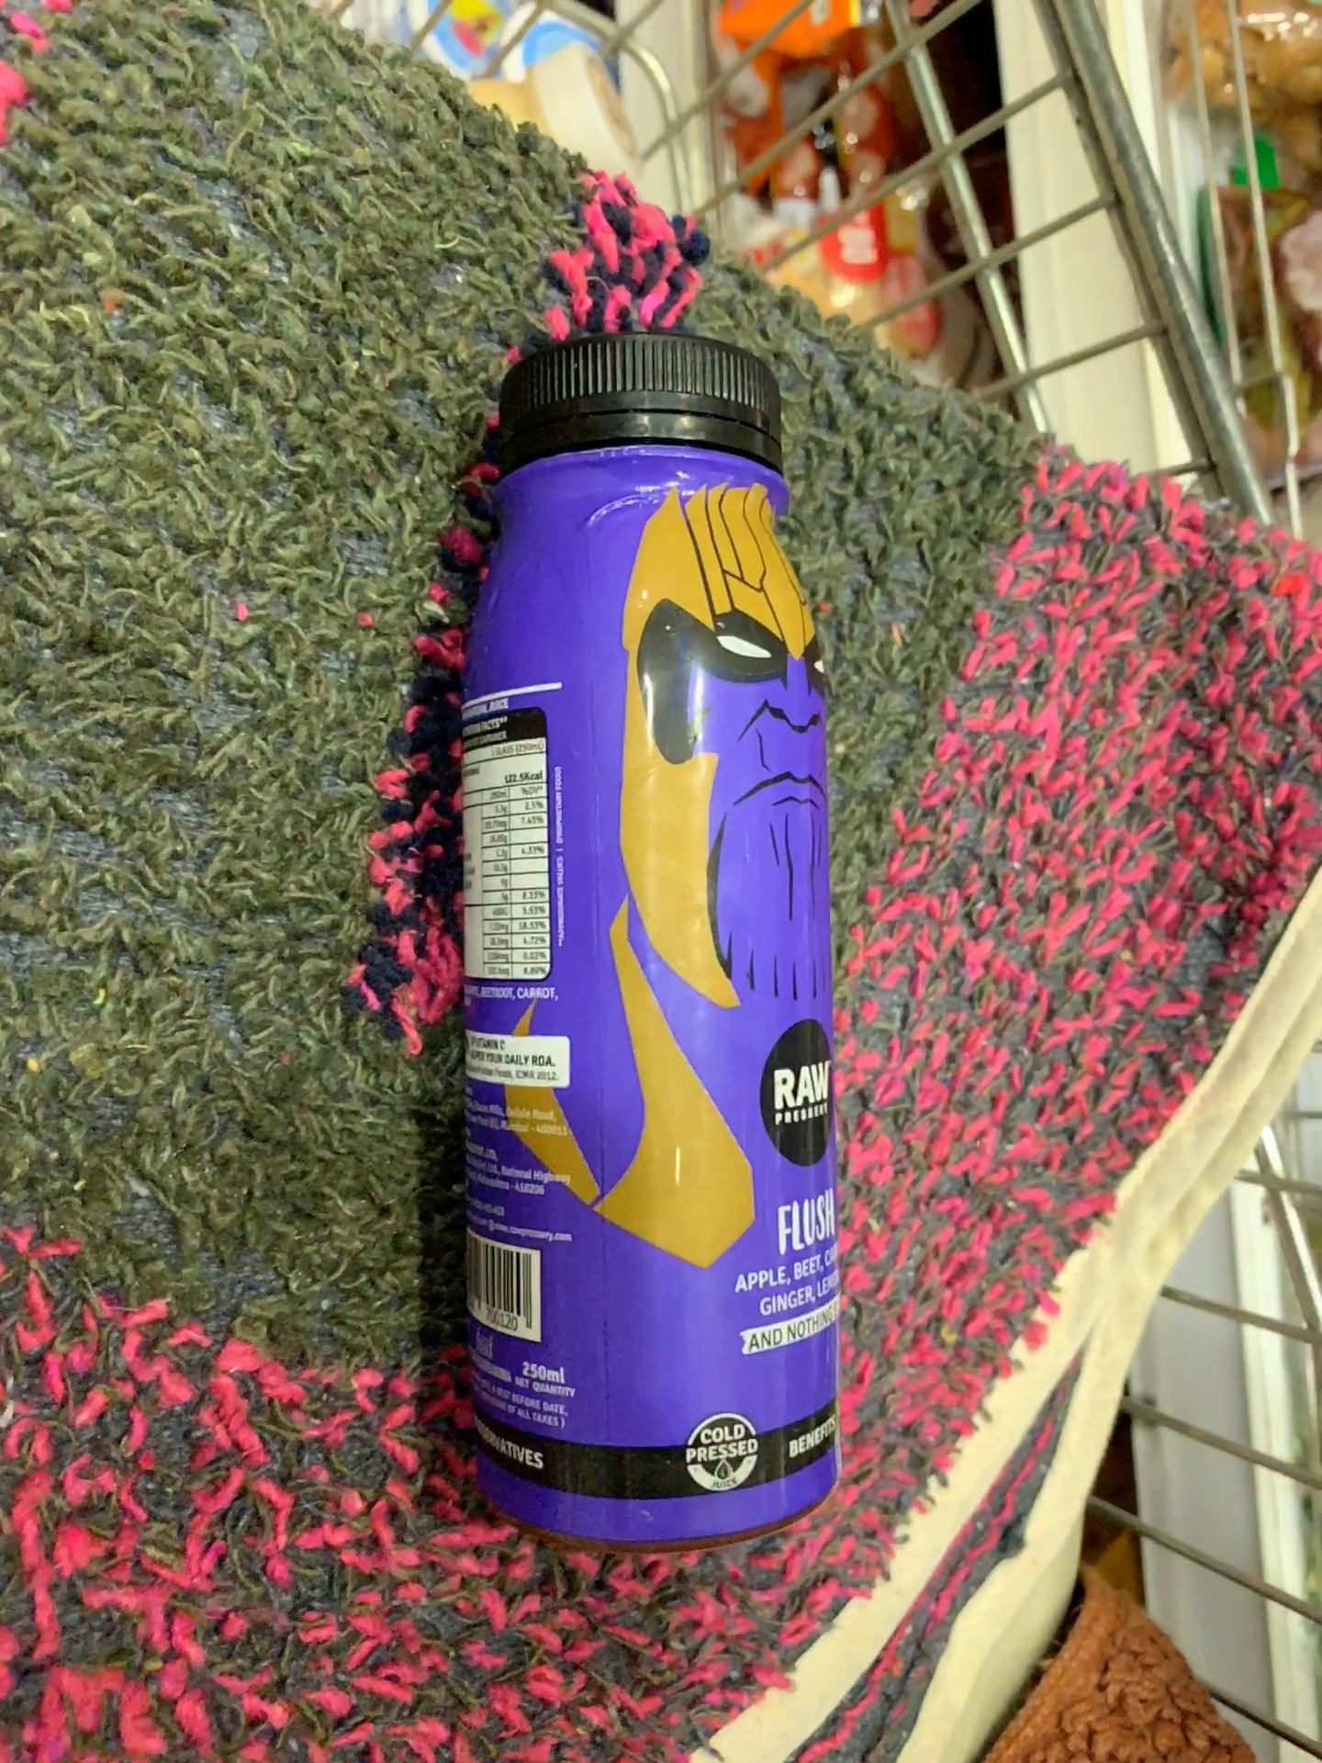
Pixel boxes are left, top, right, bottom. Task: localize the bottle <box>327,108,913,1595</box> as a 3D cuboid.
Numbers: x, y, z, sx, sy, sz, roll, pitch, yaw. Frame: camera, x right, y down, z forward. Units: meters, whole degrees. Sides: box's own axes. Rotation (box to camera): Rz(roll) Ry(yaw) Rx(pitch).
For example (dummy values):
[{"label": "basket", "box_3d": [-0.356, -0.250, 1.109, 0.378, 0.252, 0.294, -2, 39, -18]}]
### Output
[{"label": "bottle", "box_3d": [-0.006, -0.004, 0.196, 0.060, 0.050, 0.170, 3, 84, -47]}]
